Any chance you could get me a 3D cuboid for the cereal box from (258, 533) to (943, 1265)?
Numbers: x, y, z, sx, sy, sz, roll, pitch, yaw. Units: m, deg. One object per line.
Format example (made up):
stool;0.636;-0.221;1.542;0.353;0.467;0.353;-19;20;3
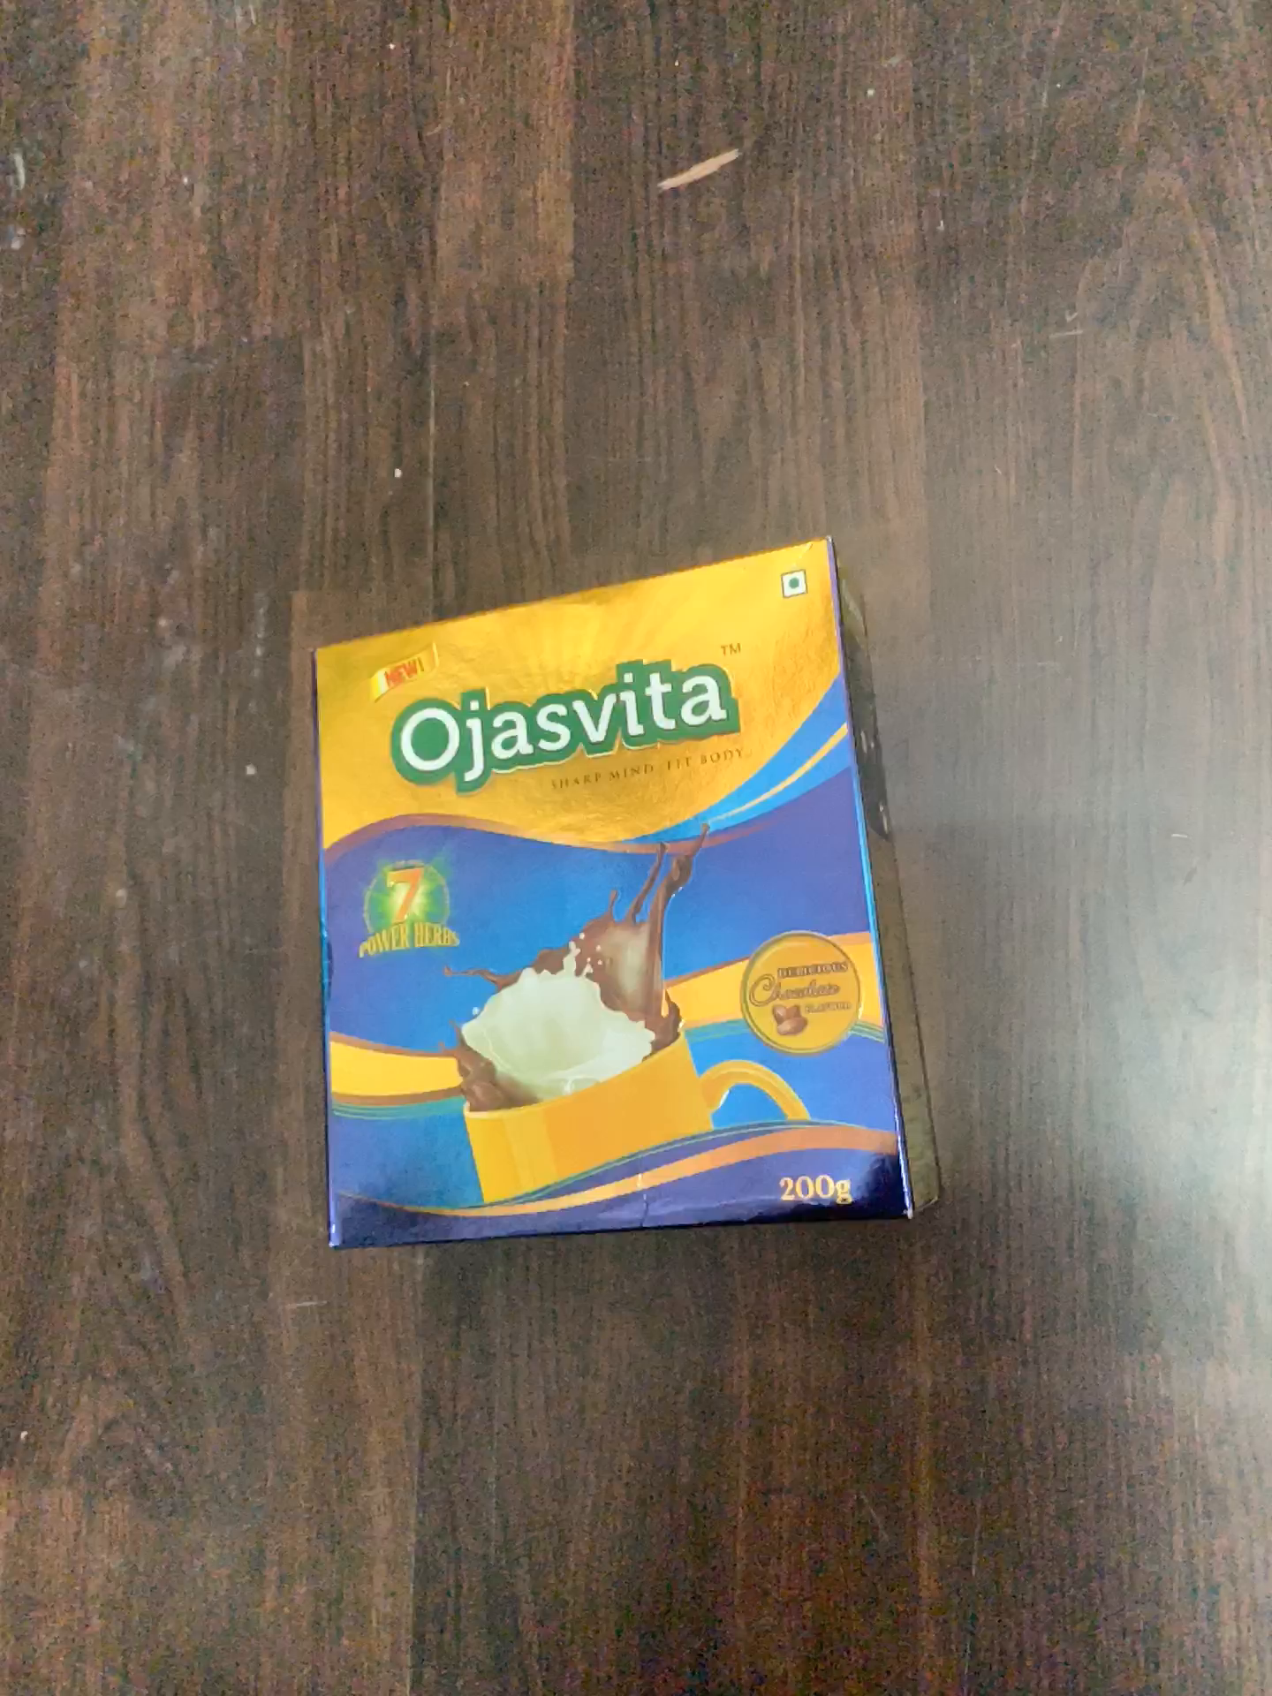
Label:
cereal box;-0.014;0.017;0.319;0.150;0.040;0.150;-9;77;17
